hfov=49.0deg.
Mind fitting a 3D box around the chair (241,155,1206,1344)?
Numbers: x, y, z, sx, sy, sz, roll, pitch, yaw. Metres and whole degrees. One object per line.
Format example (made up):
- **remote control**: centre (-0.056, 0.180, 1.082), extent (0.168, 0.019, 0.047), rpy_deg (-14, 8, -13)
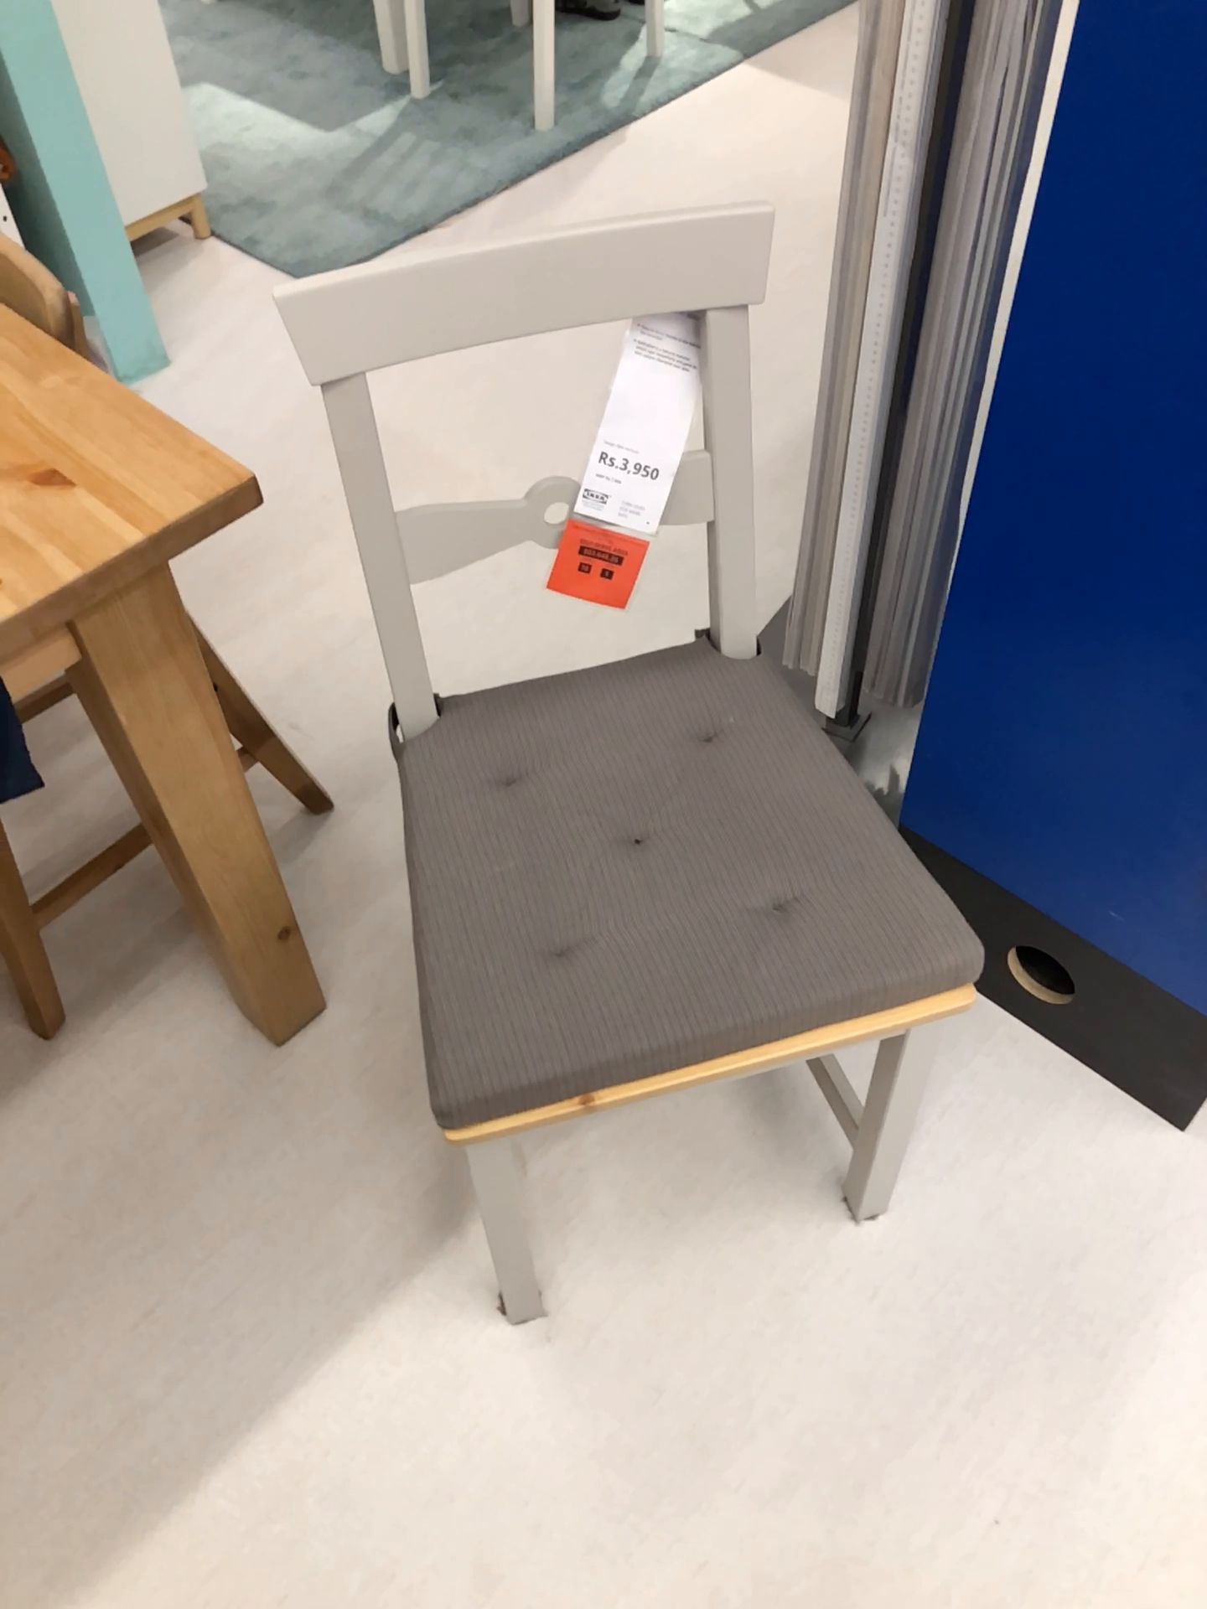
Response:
- **chair**: centre (0.047, 0.008, 1.053), extent (0.430, 0.765, 0.473), rpy_deg (-14, 51, -9)
